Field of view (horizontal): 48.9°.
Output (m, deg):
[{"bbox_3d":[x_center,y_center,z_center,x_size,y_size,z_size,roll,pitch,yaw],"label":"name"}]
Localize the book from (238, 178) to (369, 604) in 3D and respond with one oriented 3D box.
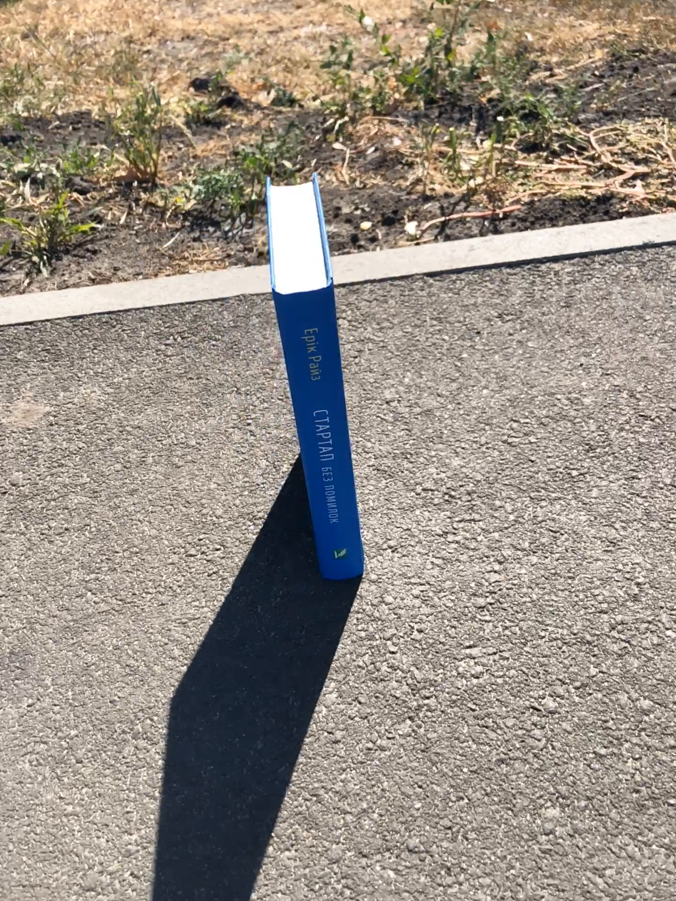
[{"bbox_3d":[-0.018,-0.034,0.455,0.038,0.205,0.155,-8,41,1],"label":"book"}]
